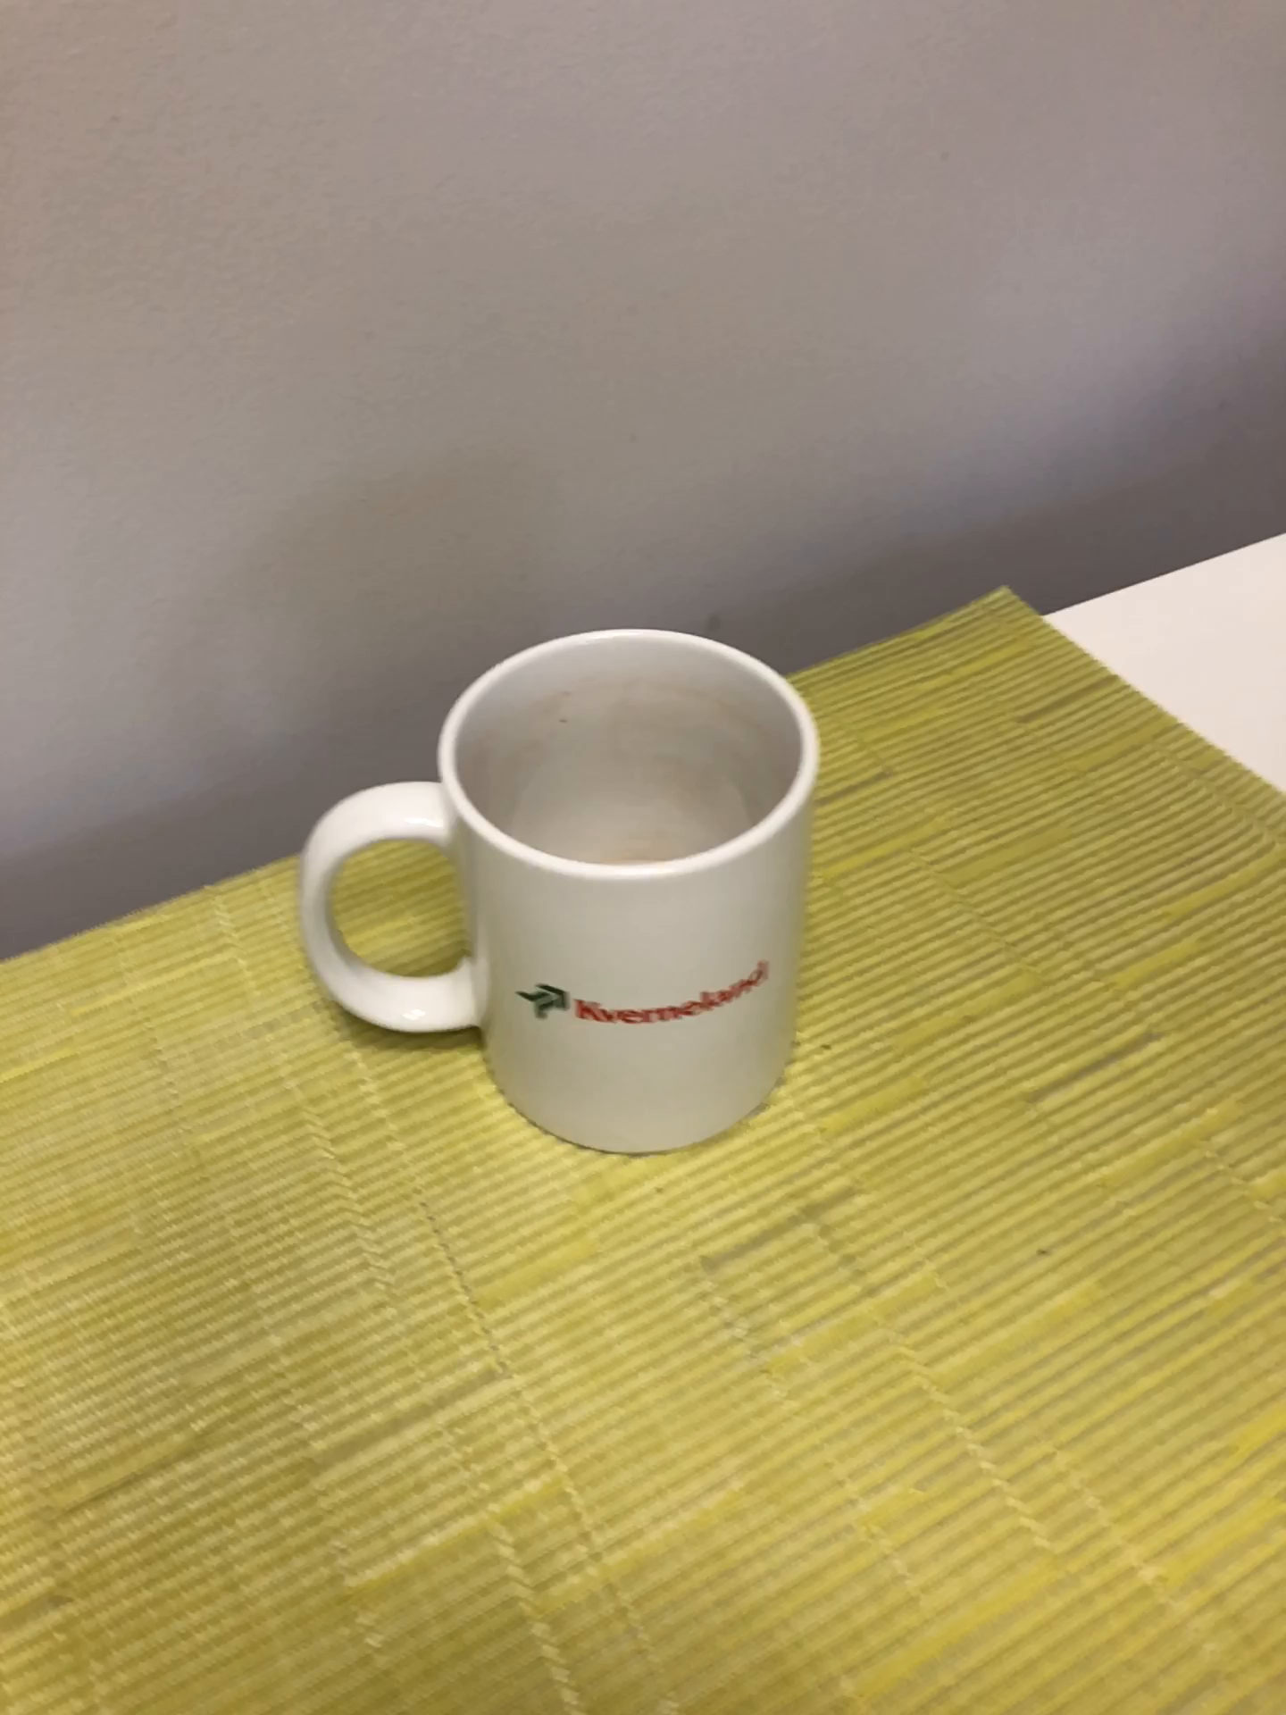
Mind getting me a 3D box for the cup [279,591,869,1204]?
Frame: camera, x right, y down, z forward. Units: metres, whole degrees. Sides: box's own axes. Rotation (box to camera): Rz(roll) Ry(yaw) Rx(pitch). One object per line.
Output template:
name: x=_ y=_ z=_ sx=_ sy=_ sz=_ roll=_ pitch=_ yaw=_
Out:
cup: x=-0.017 y=0.009 z=0.339 sx=0.114 sy=0.100 sz=0.090 roll=-6 pitch=43 yaw=-5
